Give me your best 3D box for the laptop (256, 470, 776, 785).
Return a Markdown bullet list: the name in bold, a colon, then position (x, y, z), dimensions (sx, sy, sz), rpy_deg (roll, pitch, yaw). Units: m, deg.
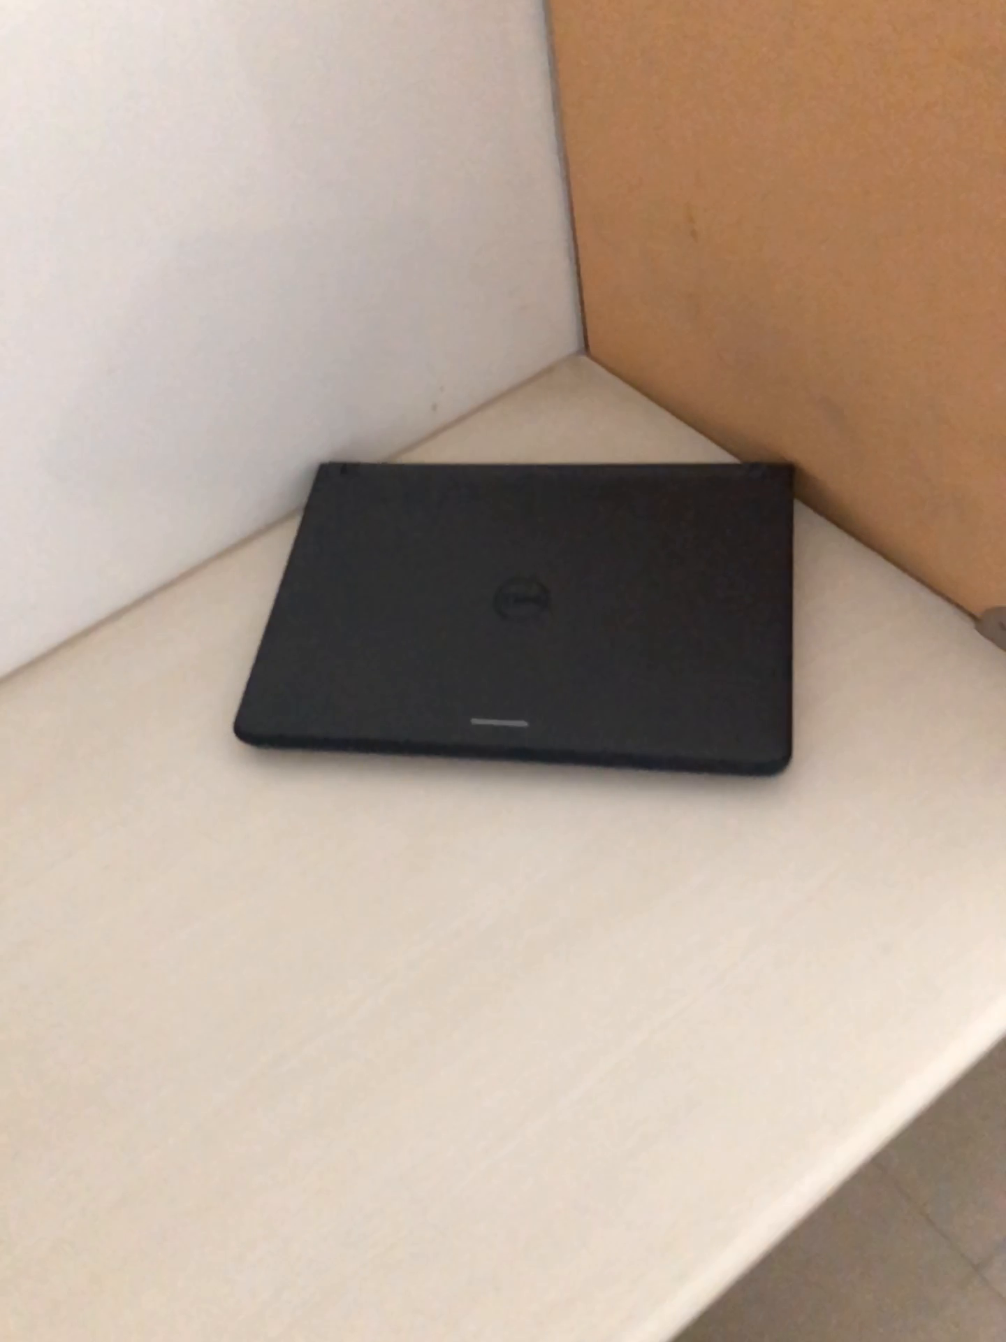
- **laptop**: position (0.015, -0.040, 0.675), dimensions (0.290, 0.007, 0.228), rpy_deg (2, 53, 13)
